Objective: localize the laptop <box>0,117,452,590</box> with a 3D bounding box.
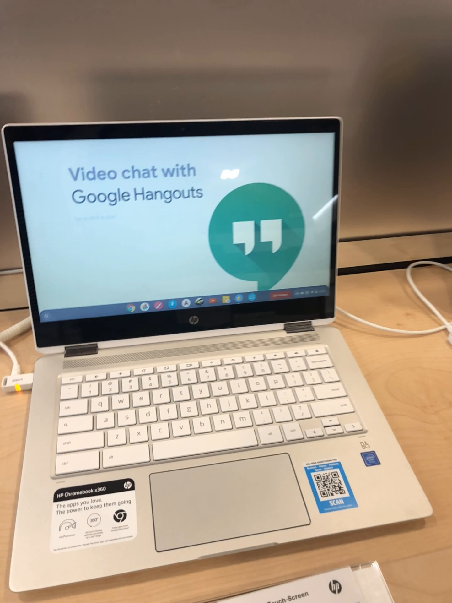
[{"bbox_3d":[-0.015,0.006,0.436,0.323,0.205,0.319,-6,42,-11],"label":"laptop"}]
